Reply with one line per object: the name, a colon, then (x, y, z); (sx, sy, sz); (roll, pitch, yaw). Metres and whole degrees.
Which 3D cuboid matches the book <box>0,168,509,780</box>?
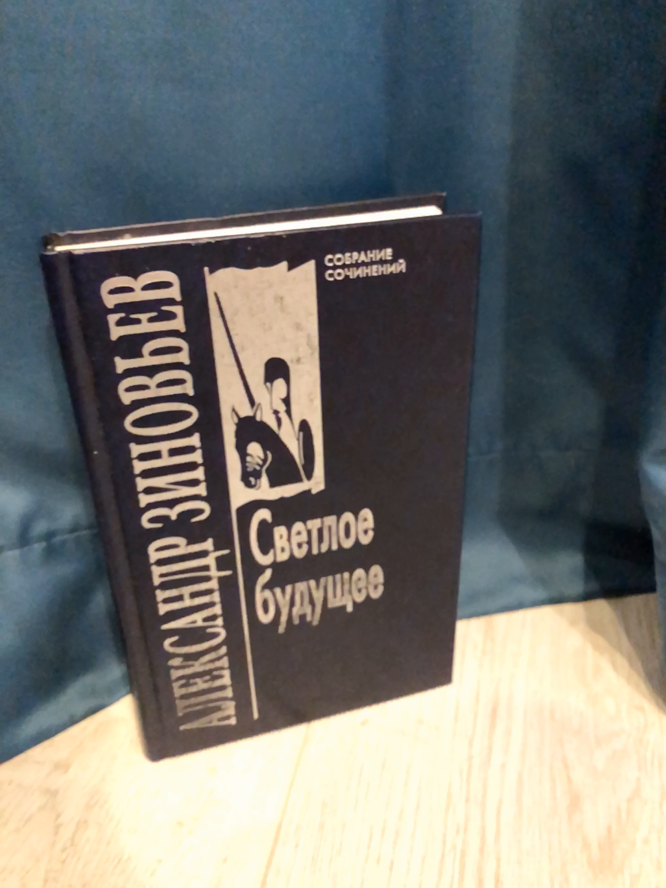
book: (-0.021, 0.014, 0.267); (0.150, 0.199, 0.040); (-10, 28, -15)
